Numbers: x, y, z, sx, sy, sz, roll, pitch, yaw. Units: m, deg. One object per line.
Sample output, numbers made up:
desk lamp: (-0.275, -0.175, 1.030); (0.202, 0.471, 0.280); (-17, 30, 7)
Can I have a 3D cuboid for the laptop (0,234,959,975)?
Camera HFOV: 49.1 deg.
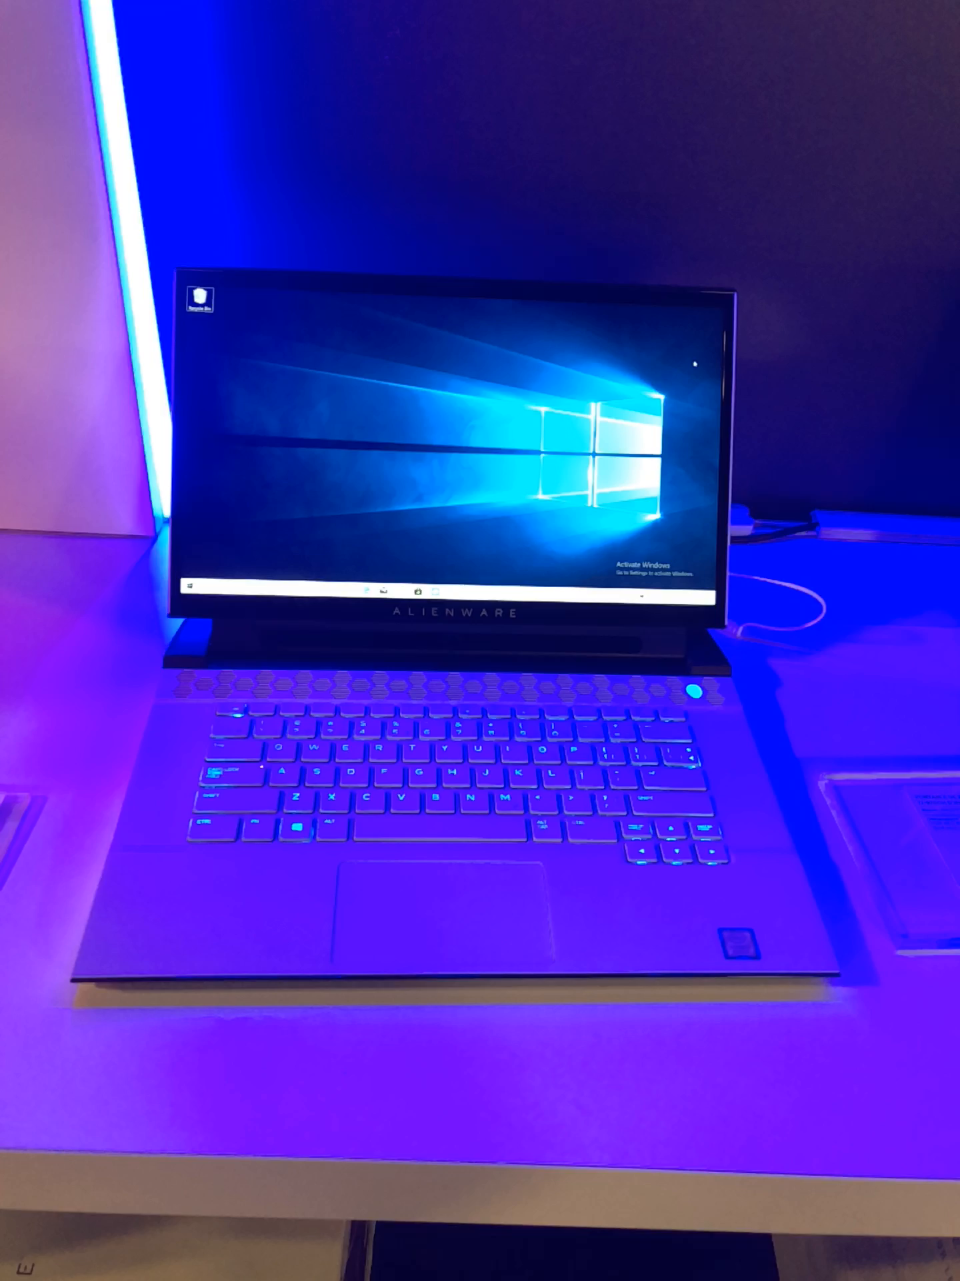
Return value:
laptop: (-0.012, -0.047, 0.583); (0.356, 0.194, 0.381); (1, 40, -4)
